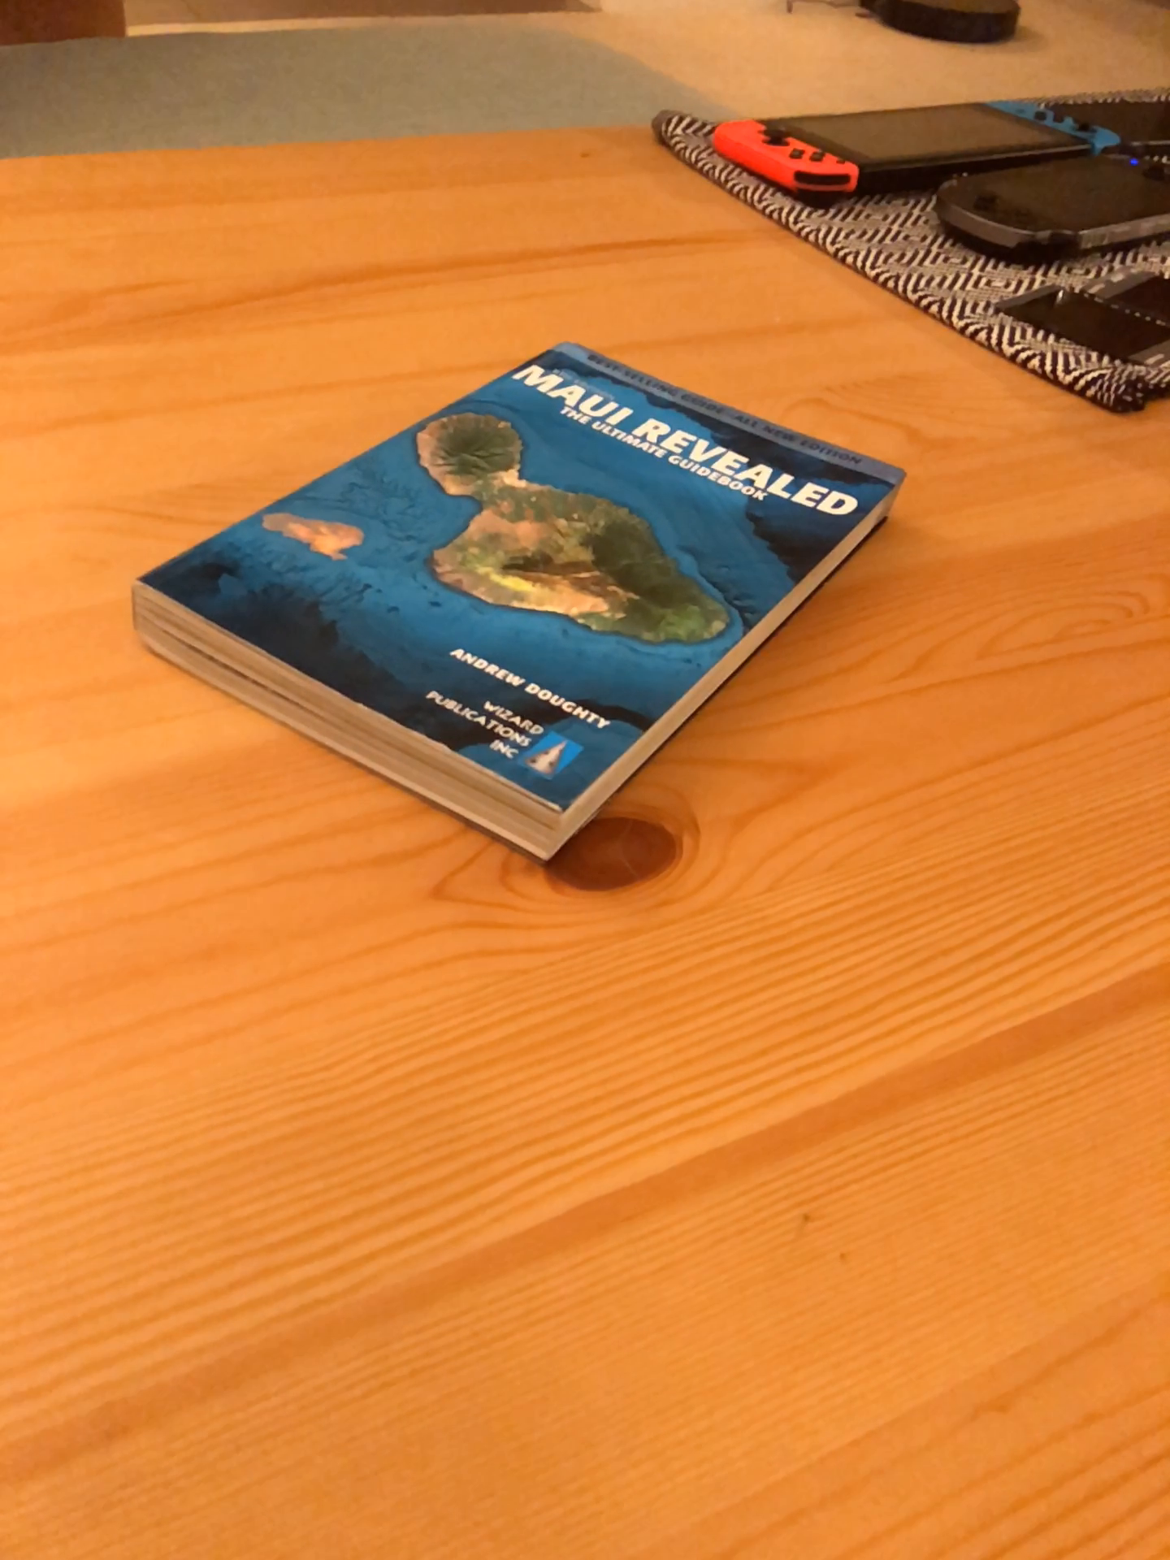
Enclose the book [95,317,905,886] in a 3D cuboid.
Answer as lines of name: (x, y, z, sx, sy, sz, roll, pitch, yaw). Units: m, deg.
book: (-0.013, -0.071, 0.381, 0.146, 0.020, 0.201, 28, 48, 19)
